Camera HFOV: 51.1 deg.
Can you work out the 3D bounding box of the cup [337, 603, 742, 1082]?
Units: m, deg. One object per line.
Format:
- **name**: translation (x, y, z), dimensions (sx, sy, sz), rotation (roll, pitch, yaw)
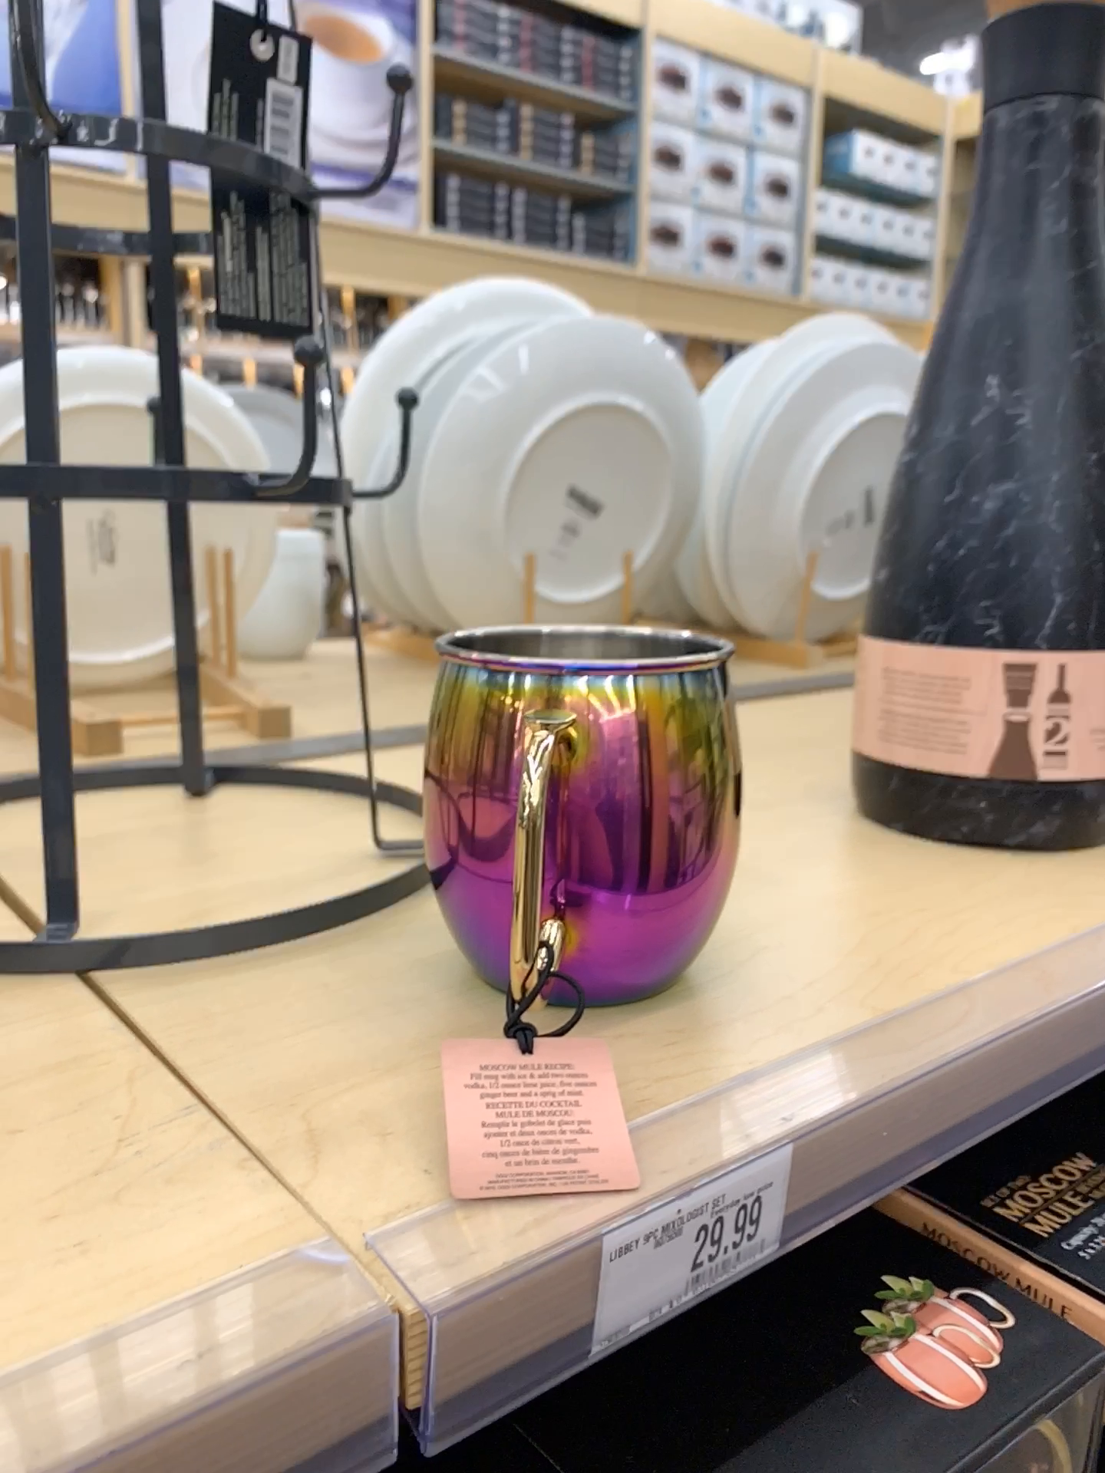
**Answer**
- **cup**: translation (0.005, 0.017, 0.318), dimensions (0.084, 0.089, 0.131), rotation (4, 13, 10)
